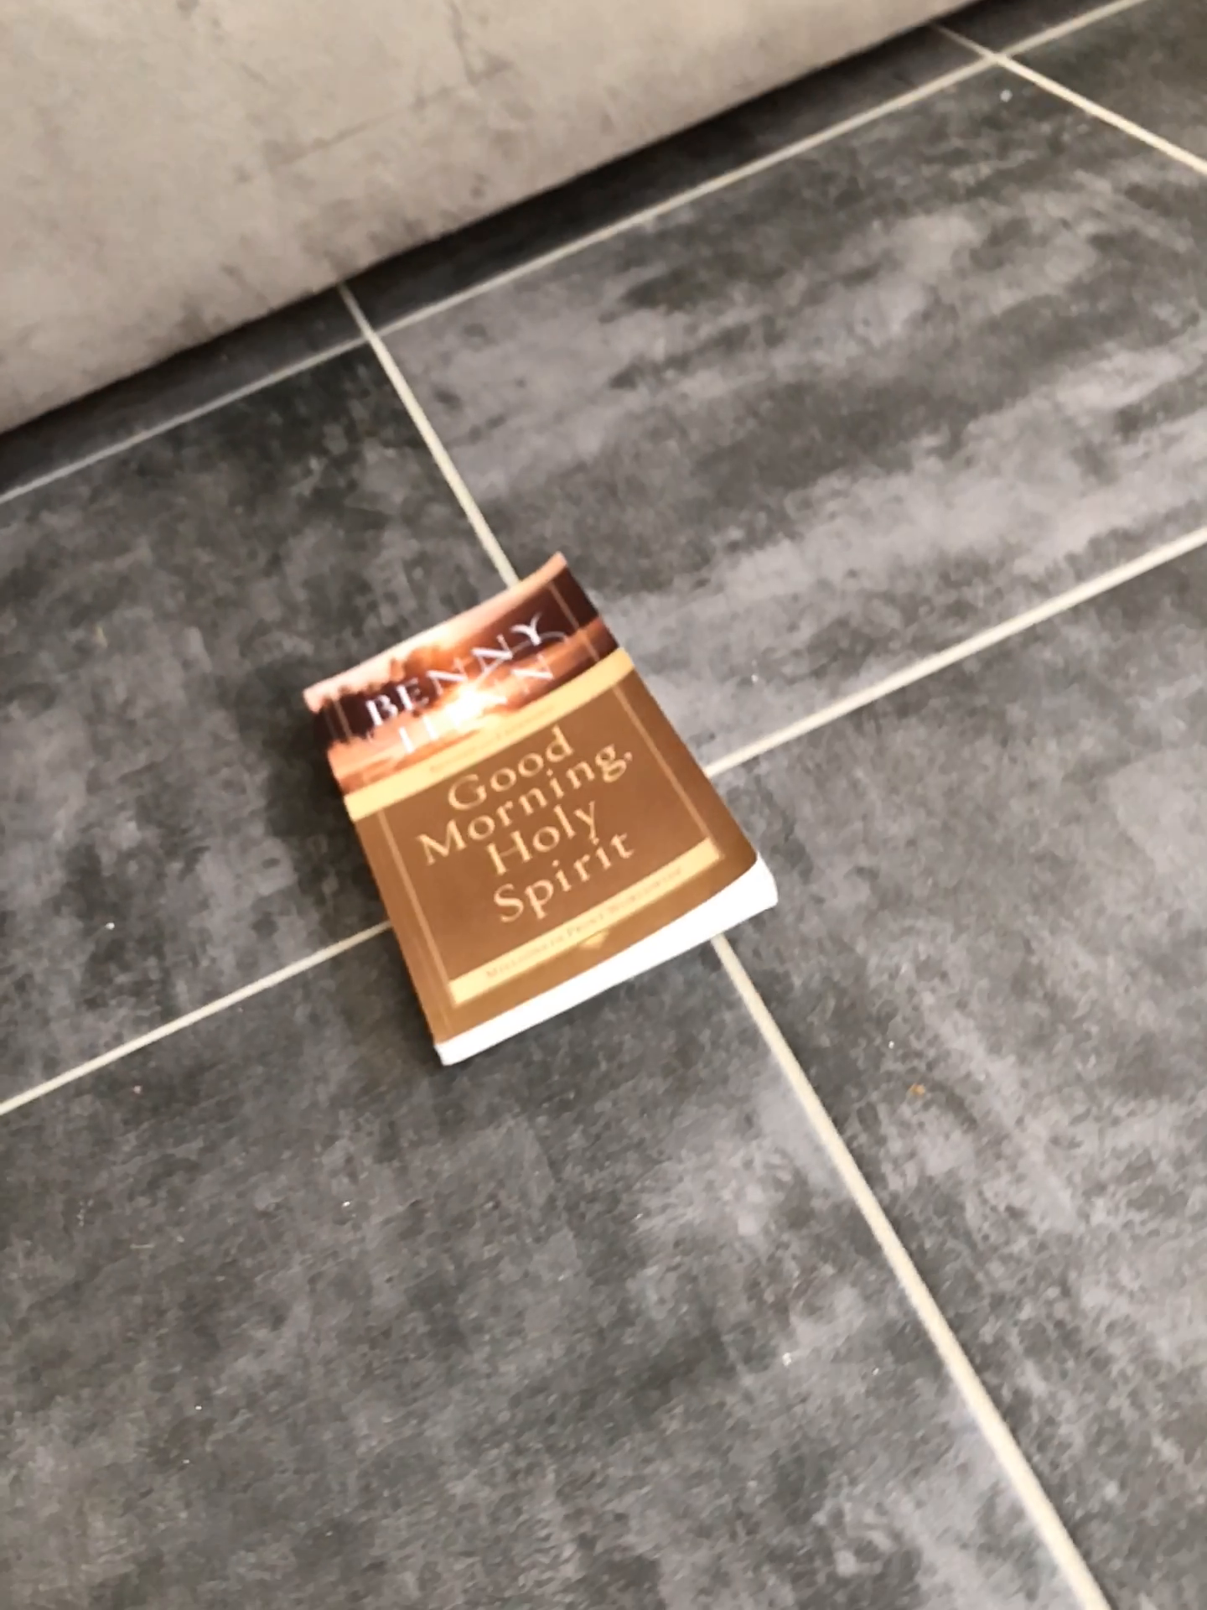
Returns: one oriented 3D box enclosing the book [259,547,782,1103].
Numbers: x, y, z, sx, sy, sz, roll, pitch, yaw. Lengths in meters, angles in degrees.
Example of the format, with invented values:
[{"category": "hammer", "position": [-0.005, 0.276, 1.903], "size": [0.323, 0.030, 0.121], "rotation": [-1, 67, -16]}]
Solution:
[{"category": "book", "position": [-0.047, -0.007, 0.558], "size": [0.150, 0.020, 0.231], "rotation": [-26, 49, -4]}]
